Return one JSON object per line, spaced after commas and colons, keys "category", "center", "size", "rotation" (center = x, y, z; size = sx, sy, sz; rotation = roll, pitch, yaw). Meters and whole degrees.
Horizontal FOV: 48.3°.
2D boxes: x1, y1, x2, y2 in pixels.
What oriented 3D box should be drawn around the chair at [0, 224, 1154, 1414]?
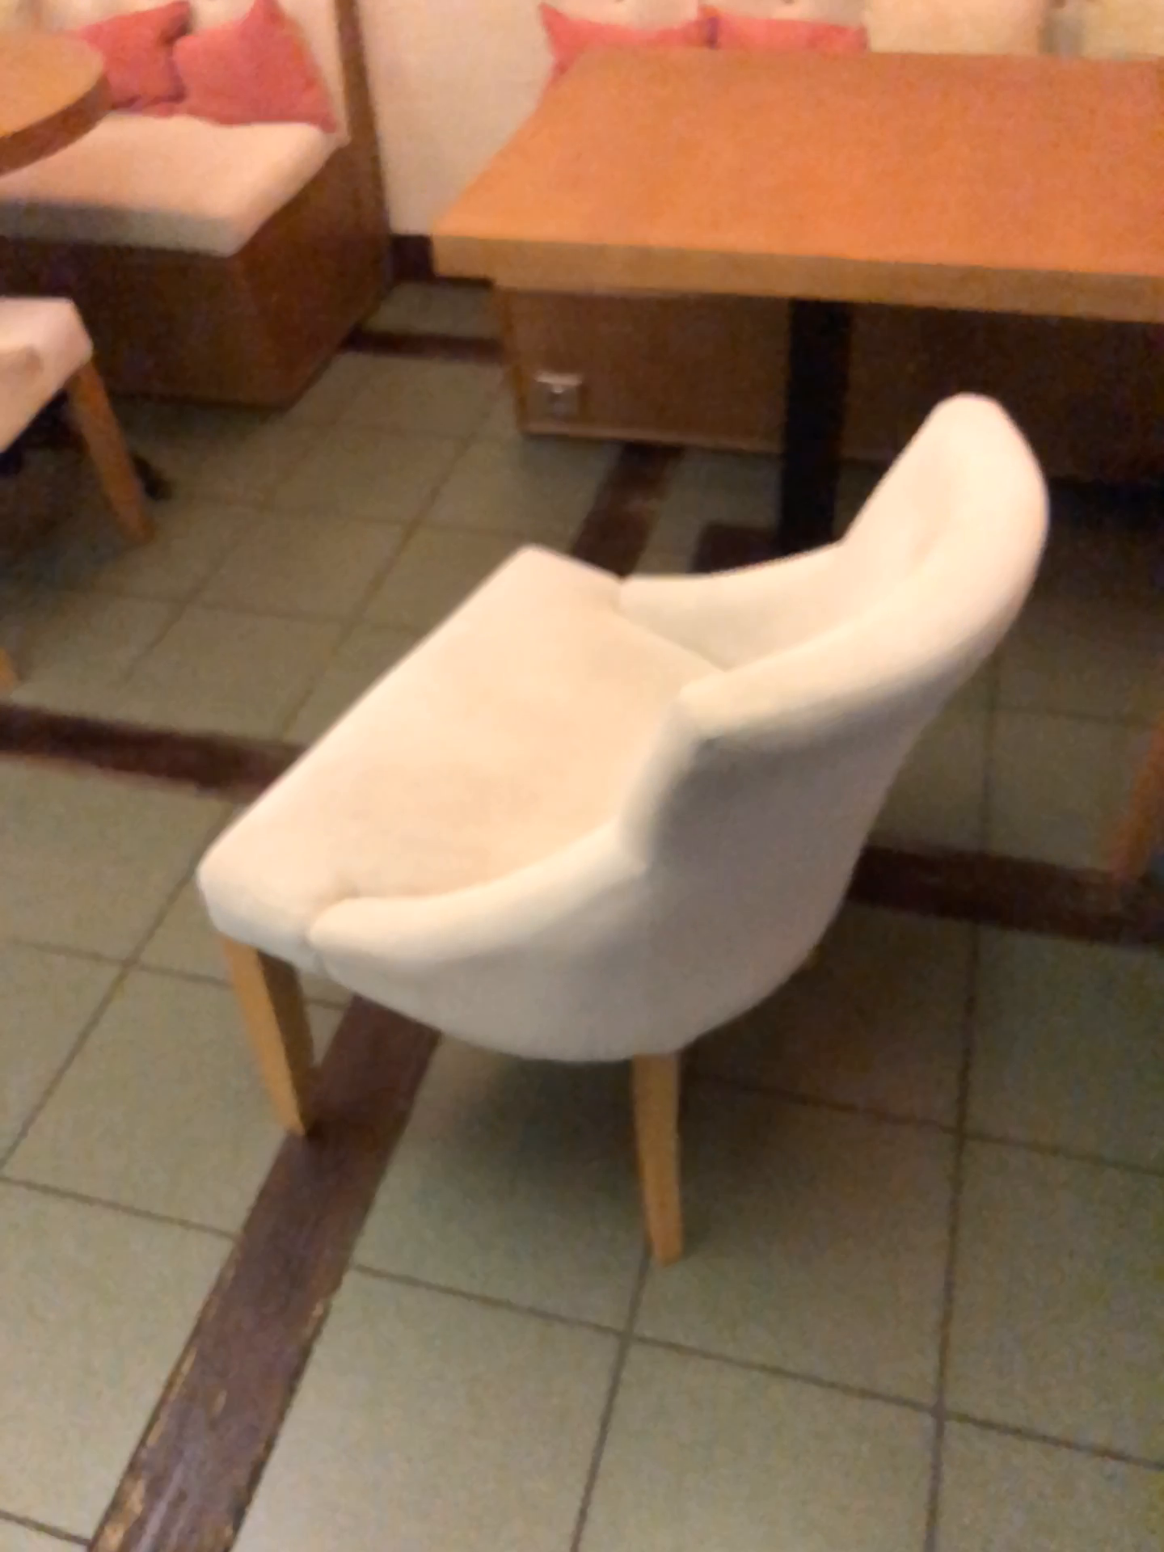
{"category": "chair", "center": [0.040, 0.010, 1.234], "size": [0.661, 0.736, 0.633], "rotation": [19, 48, 23]}
